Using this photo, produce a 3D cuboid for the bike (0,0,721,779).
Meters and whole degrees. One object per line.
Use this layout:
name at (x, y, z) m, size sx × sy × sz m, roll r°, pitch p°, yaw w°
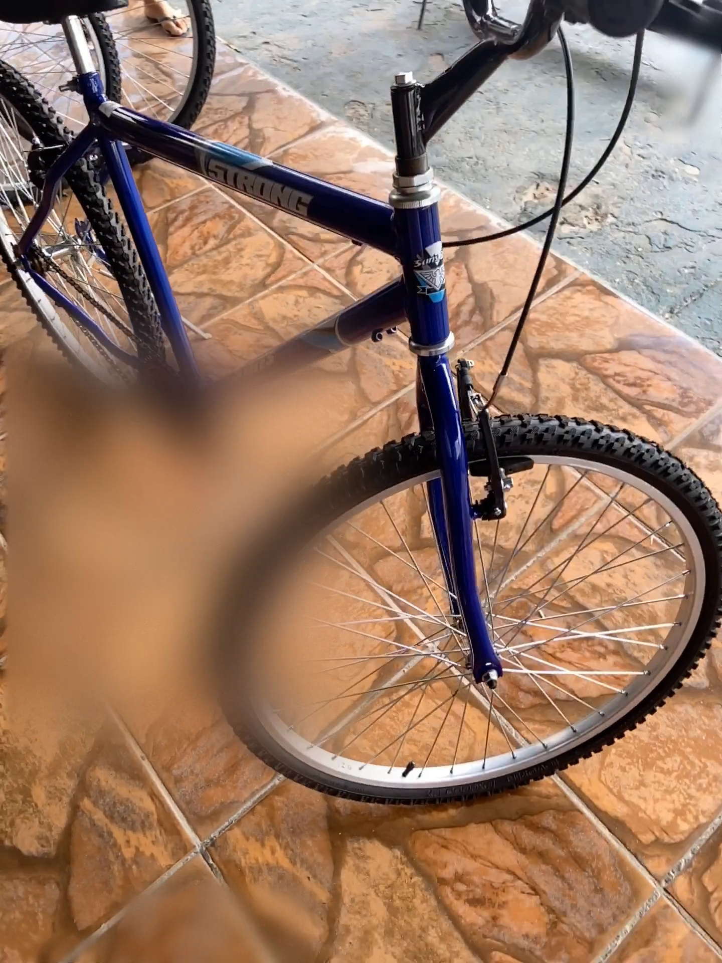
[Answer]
bike at (-0.106, -0.367, 1.109) m, size 1.526 × 1.014 × 0.573 m, roll 32°, pitch 64°, yaw 21°
